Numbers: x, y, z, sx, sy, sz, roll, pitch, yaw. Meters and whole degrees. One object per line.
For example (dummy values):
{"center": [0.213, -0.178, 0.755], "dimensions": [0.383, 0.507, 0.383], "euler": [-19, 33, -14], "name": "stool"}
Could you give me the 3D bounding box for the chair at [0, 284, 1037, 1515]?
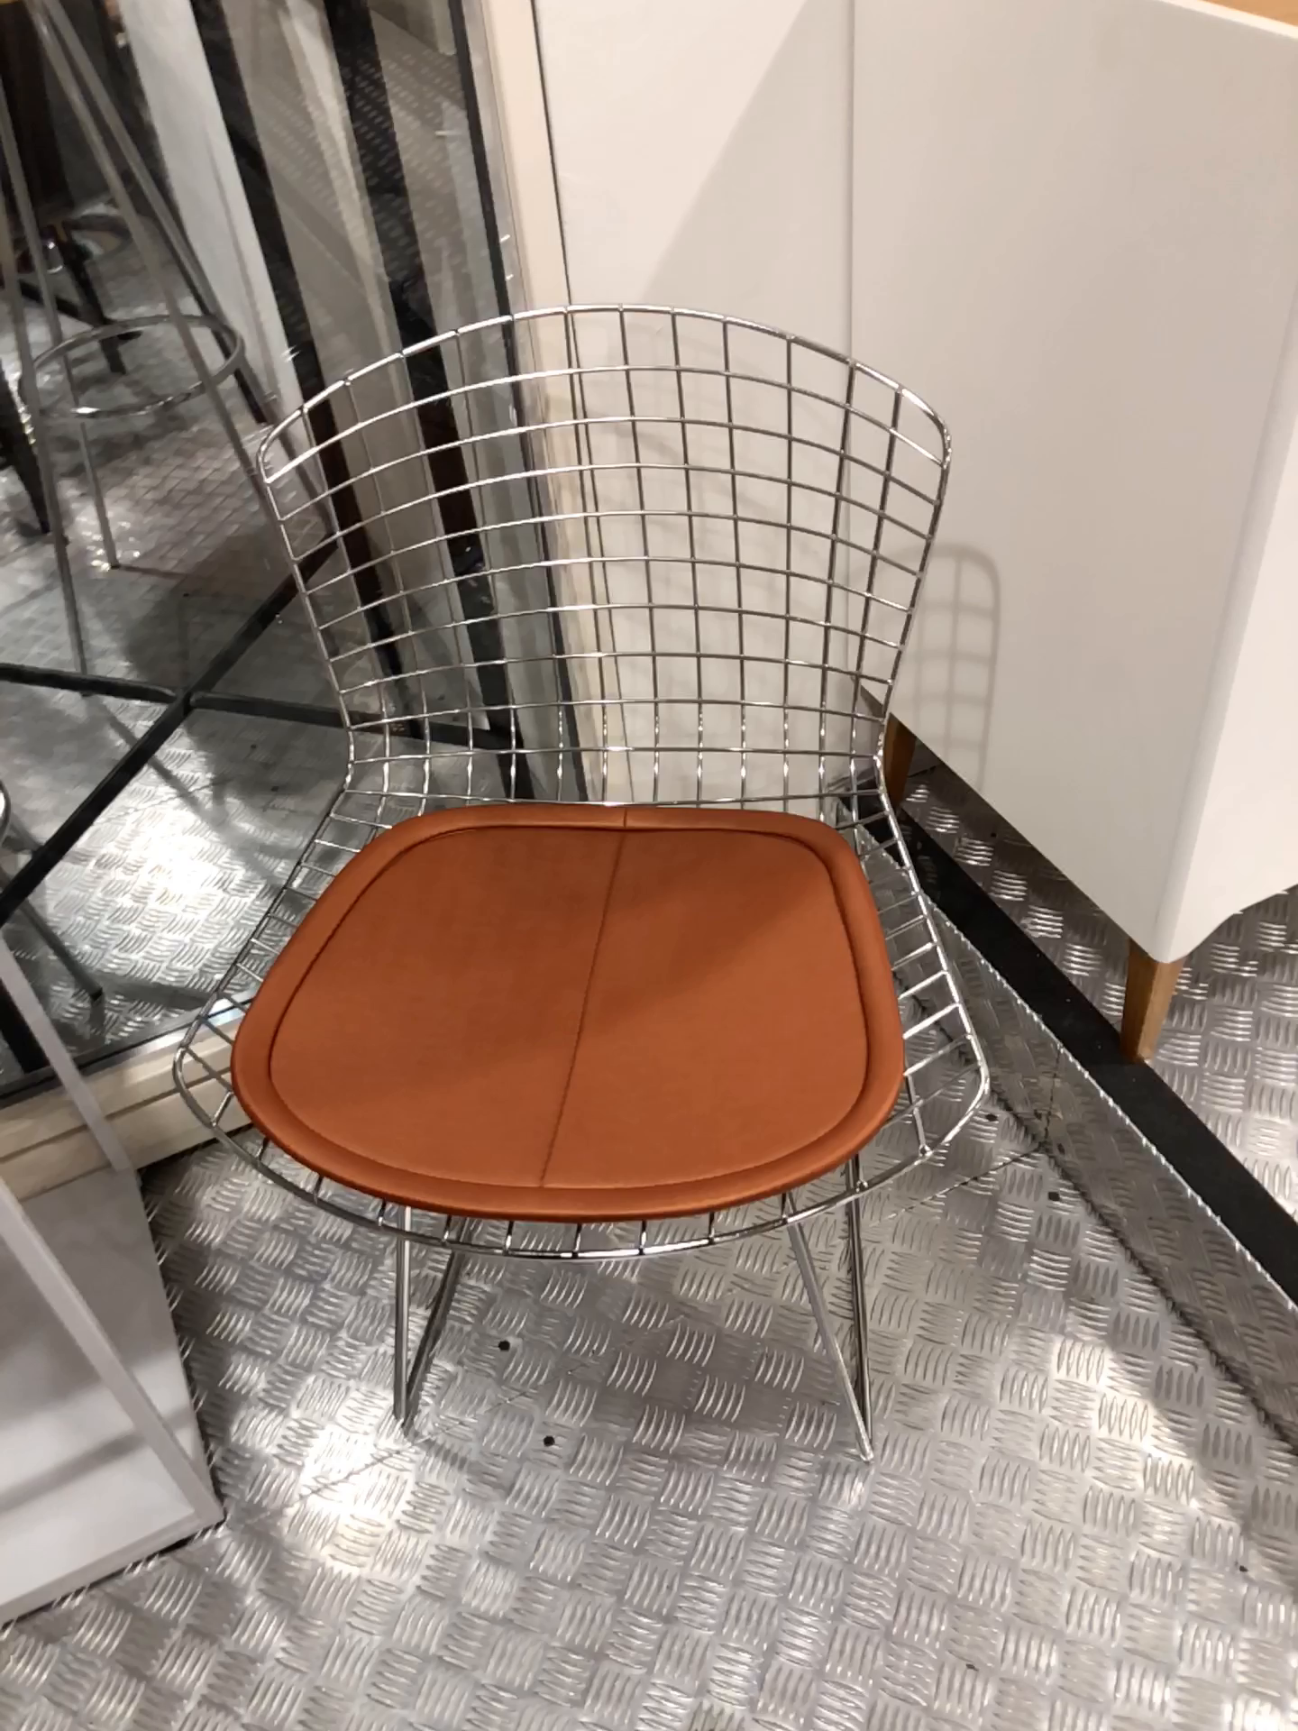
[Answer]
{"center": [-0.044, 0.037, 1.089], "dimensions": [0.550, 0.705, 0.574], "euler": [0, 43, 8], "name": "chair"}
